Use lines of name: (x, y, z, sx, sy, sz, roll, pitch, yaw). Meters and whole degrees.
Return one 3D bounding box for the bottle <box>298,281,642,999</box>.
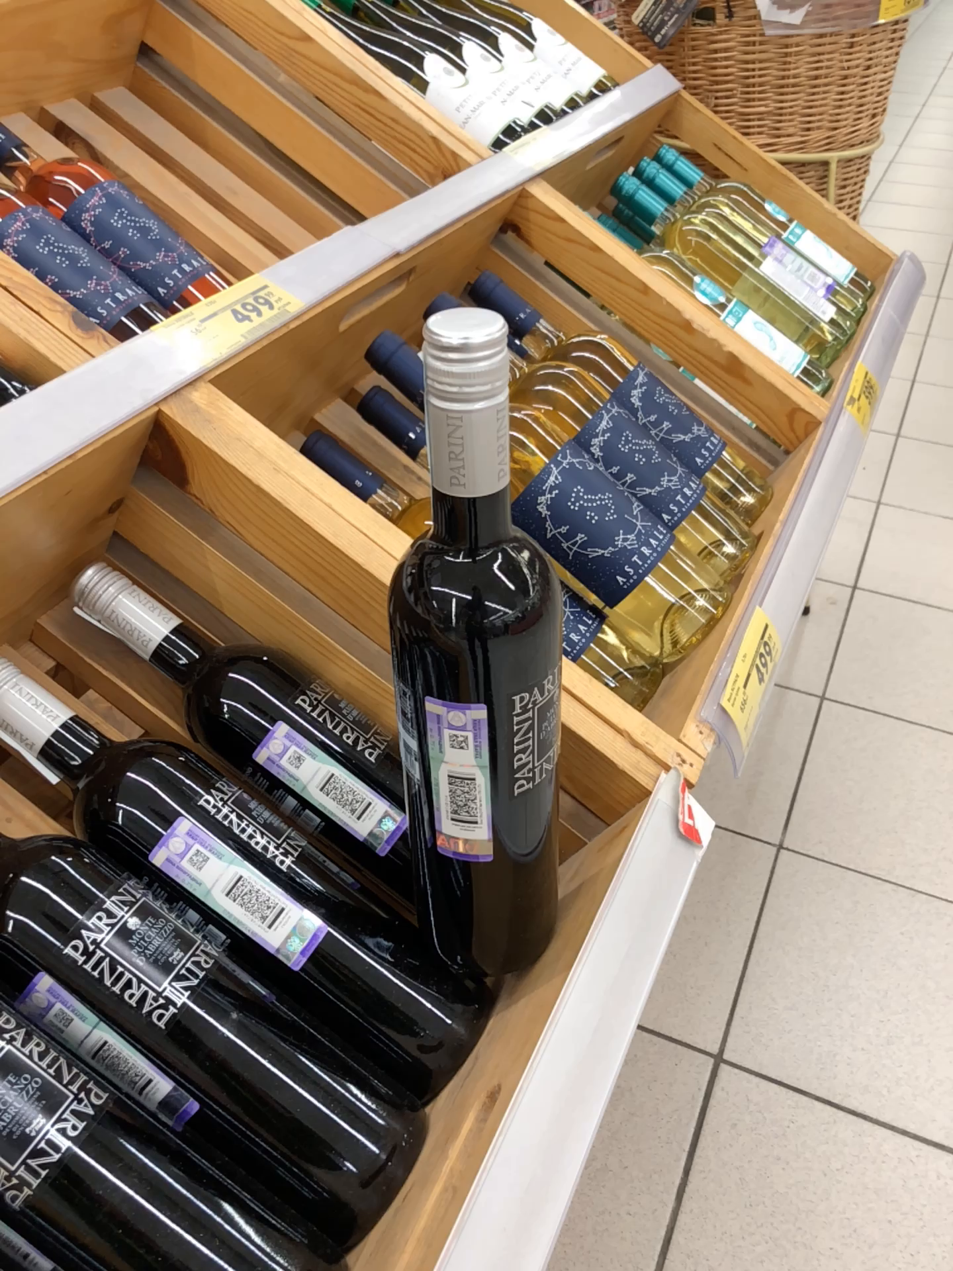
bottle: (0.006, 0.012, 0.433, 0.080, 0.278, 0.090, 19, 40, 29)
